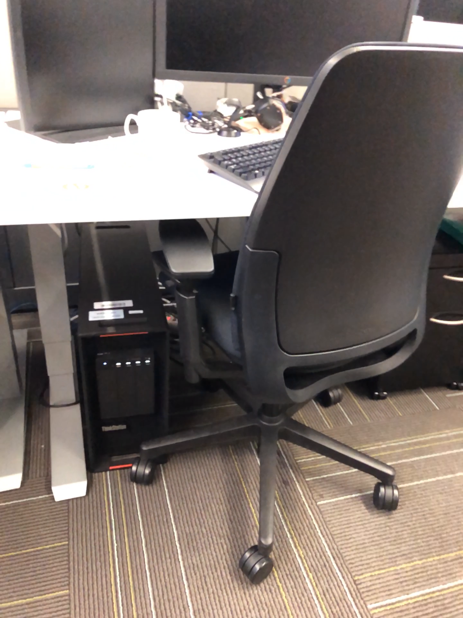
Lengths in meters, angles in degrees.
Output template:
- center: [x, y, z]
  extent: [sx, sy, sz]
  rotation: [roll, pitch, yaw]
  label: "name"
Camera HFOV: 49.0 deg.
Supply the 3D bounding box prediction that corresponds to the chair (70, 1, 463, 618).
- center: [0.122, -0.038, 1.138]
  extent: [0.711, 1.044, 0.723]
  rotation: [-11, 35, -24]
  label: "chair"
